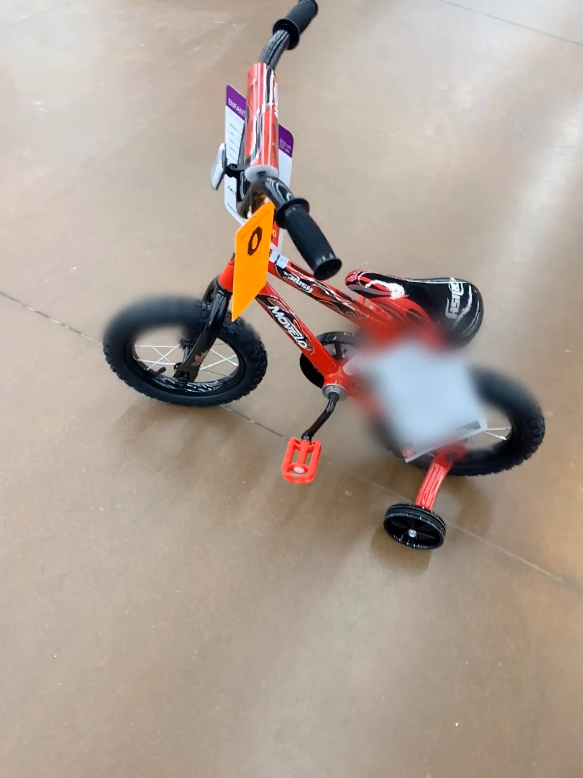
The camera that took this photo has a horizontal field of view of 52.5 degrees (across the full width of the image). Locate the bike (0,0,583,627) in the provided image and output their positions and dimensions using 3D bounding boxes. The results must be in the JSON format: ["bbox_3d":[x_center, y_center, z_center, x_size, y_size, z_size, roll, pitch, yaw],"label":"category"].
[{"bbox_3d":[0.079,-0.091,0.777,0.703,0.626,0.459,14,51,-2],"label":"bike"}]
